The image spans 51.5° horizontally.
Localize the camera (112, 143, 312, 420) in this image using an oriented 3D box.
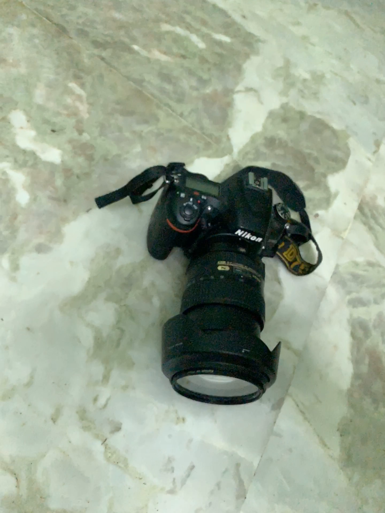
[{"bbox_3d":[0.019,0.022,0.364,0.130,0.090,0.210,15,57,-15],"label":"camera"}]
